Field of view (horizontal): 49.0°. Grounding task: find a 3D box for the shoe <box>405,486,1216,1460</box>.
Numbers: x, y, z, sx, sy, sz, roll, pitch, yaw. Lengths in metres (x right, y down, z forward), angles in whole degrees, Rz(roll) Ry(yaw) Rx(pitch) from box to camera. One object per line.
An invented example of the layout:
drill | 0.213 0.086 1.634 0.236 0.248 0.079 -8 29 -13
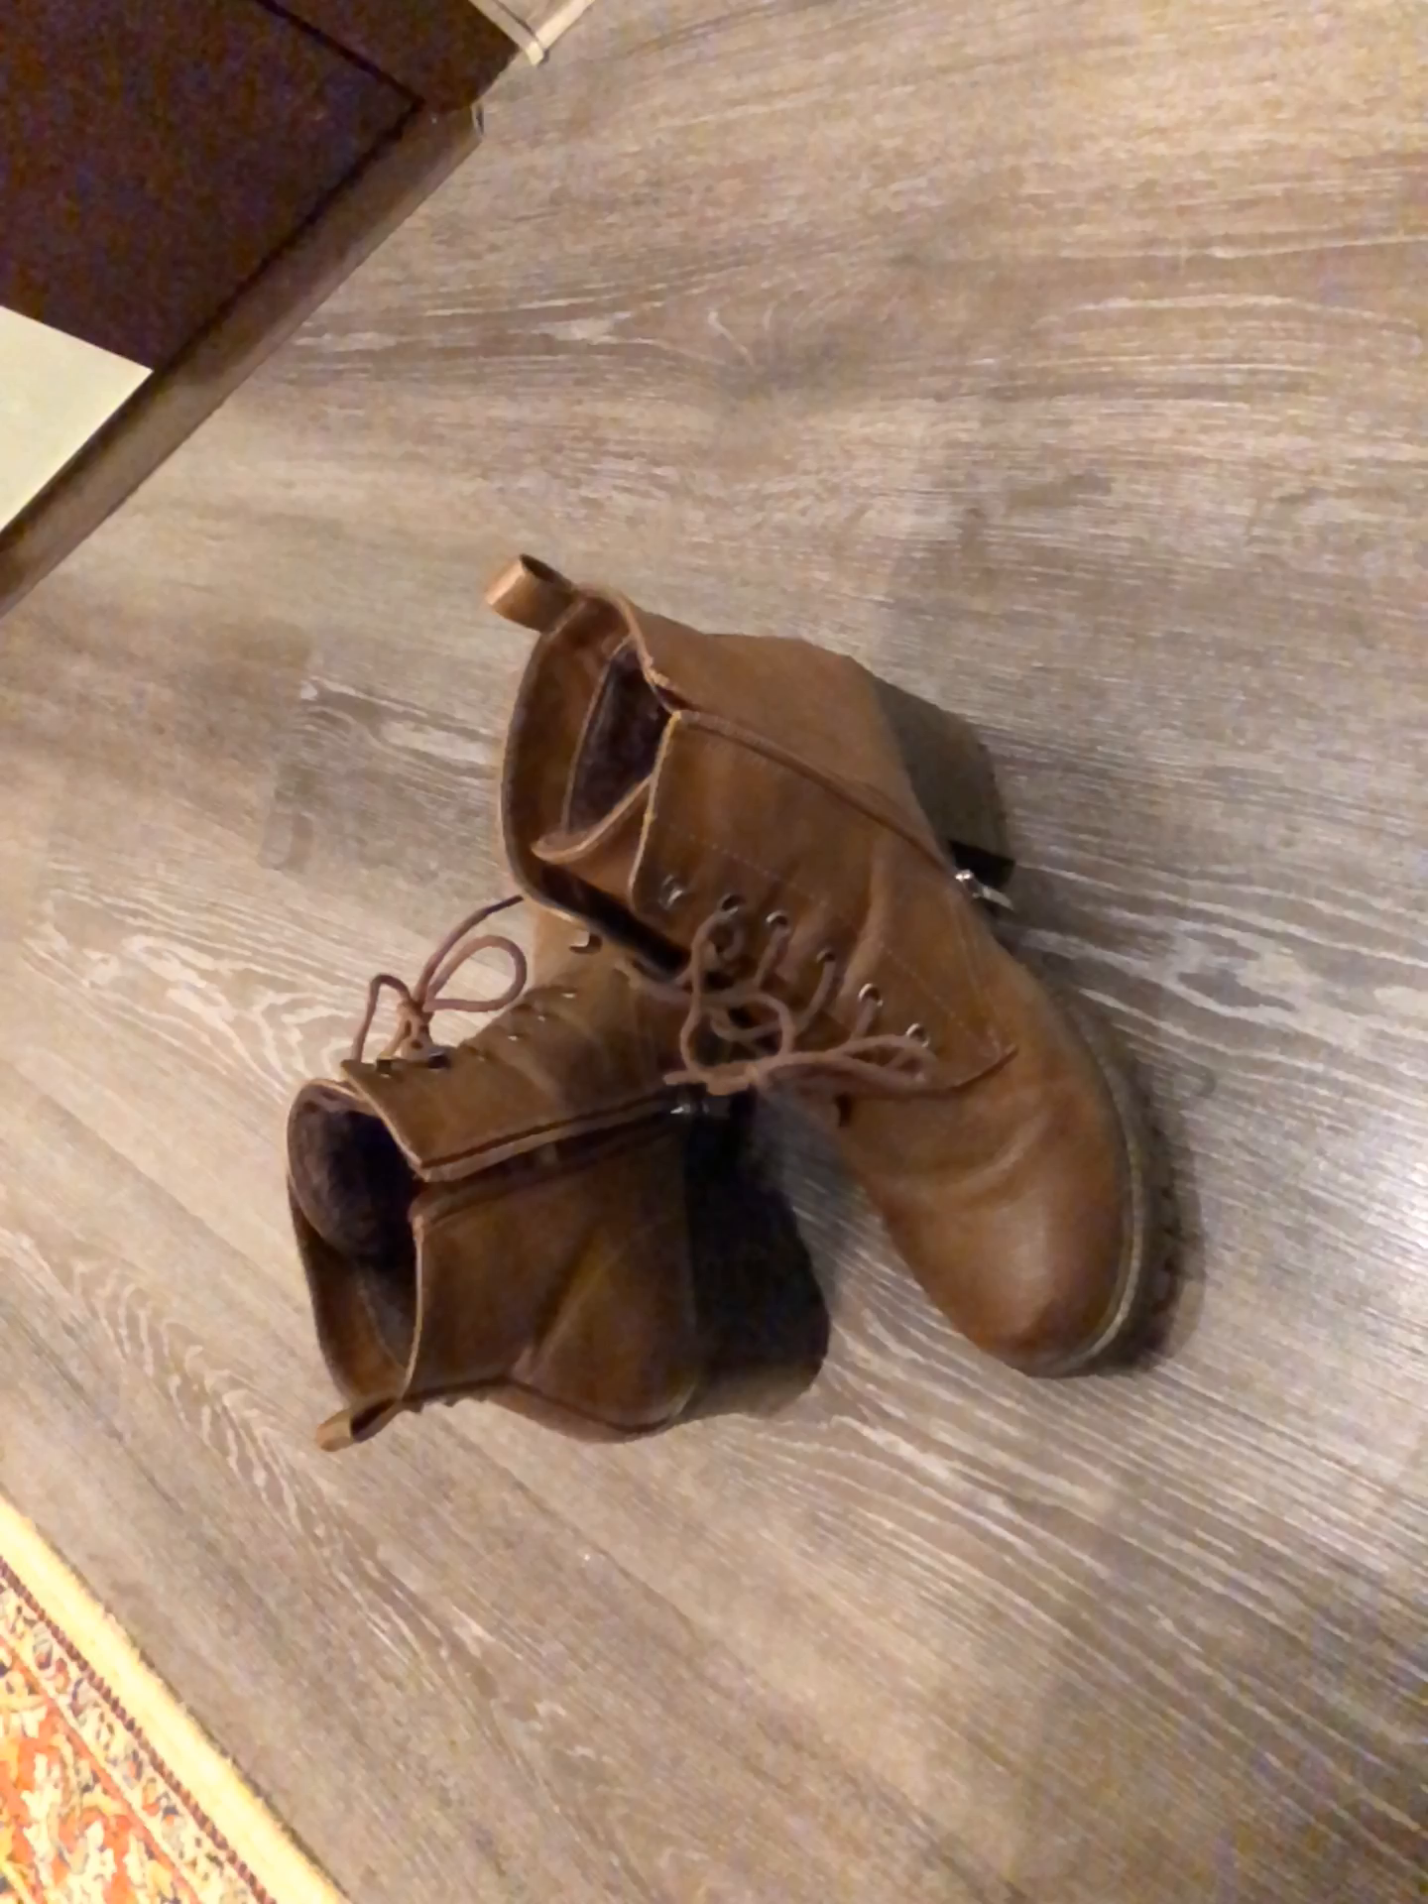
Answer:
shoe | 0.028 0.015 0.448 0.090 0.189 0.220 -27 64 37

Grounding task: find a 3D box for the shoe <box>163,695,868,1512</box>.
shoe | -0.069 0.052 0.526 0.100 0.169 0.221 -34 60 34
